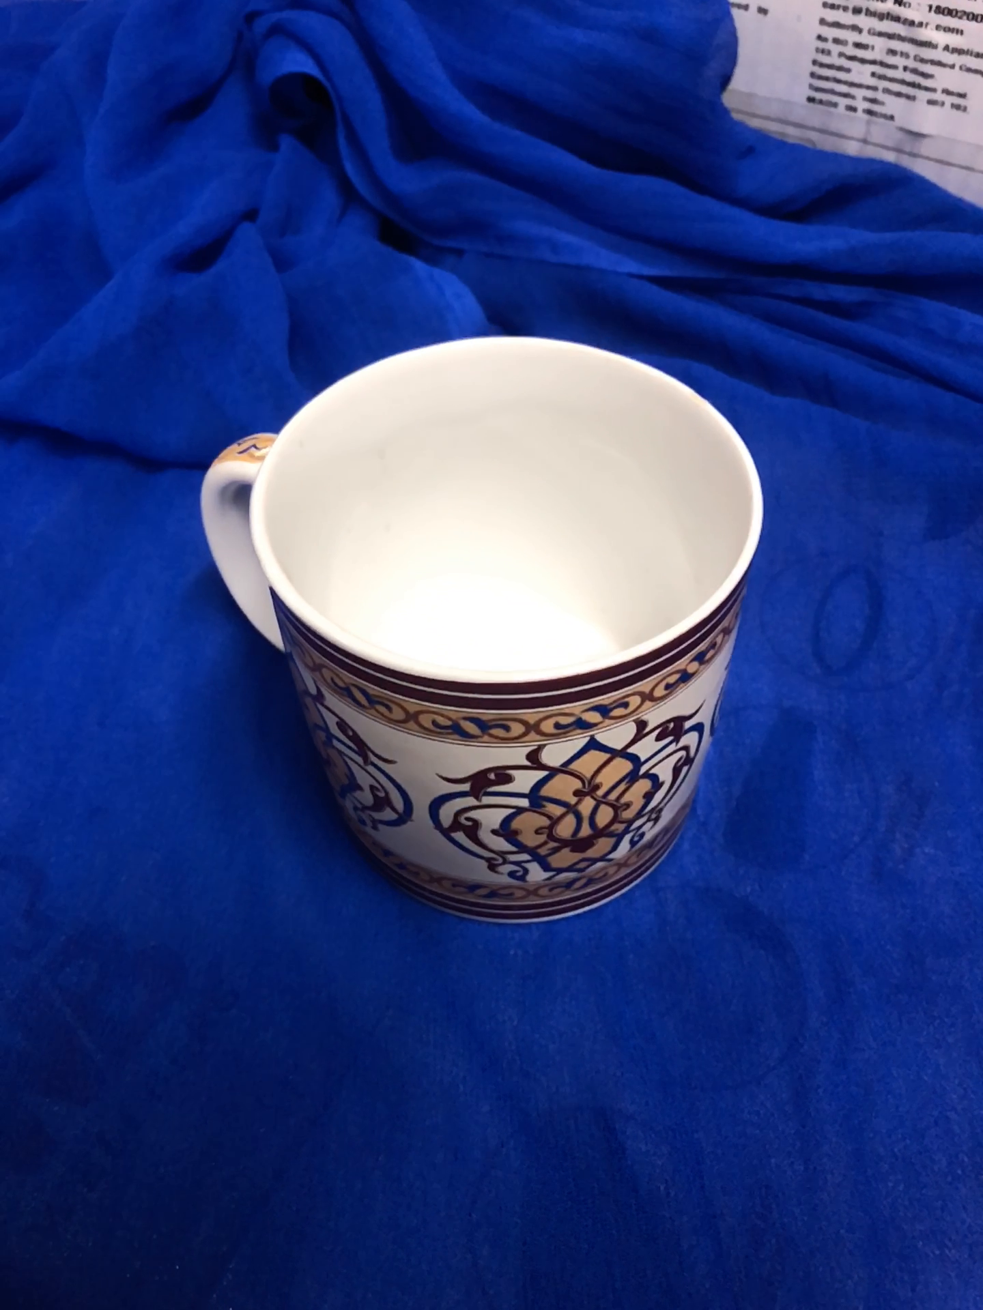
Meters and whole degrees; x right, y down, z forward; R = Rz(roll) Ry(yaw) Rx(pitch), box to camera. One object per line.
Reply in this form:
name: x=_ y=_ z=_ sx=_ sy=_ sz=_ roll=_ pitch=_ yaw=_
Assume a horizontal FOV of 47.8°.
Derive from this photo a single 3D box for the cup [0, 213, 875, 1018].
cup: x=-0.007 y=-0.009 z=0.203 sx=0.110 sy=0.080 sz=0.080 roll=25 pitch=56 yaw=16
